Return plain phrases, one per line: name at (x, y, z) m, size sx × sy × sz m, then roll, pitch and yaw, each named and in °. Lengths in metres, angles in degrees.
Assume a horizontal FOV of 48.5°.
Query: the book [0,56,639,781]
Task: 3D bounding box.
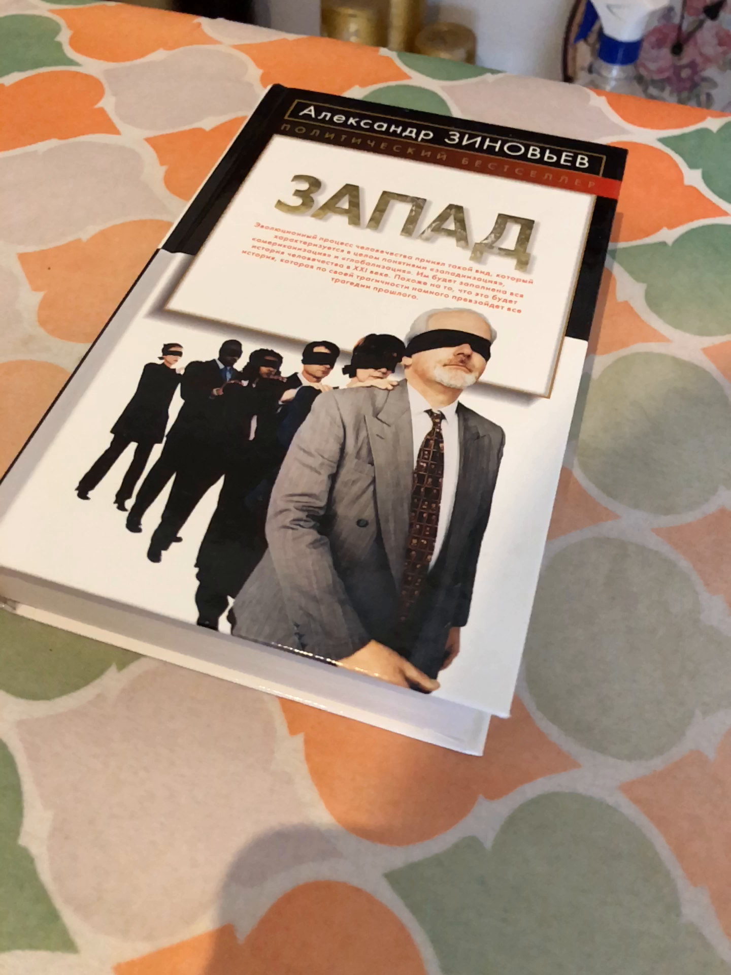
book at (-0.006, -0.046, 0.246) m, size 0.140 × 0.040 × 0.221 m, roll 15°, pitch 56°, yaw 10°
